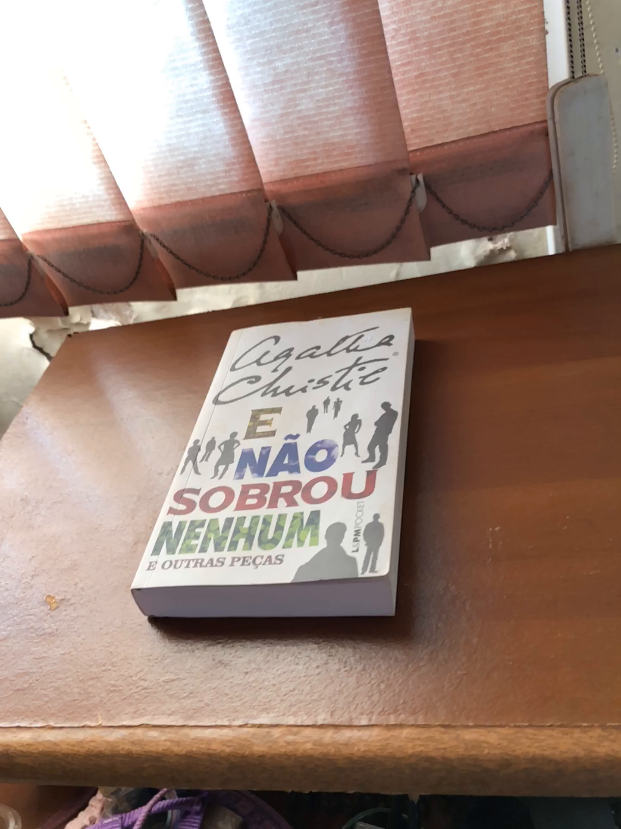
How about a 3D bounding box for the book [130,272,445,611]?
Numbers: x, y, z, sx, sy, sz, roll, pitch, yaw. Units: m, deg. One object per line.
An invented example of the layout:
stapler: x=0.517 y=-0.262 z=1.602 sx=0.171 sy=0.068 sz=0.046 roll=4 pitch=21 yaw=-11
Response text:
book: x=0.003 y=0.002 z=0.319 sx=0.110 sy=0.024 sz=0.187 roll=-6 pitch=41 yaw=18
